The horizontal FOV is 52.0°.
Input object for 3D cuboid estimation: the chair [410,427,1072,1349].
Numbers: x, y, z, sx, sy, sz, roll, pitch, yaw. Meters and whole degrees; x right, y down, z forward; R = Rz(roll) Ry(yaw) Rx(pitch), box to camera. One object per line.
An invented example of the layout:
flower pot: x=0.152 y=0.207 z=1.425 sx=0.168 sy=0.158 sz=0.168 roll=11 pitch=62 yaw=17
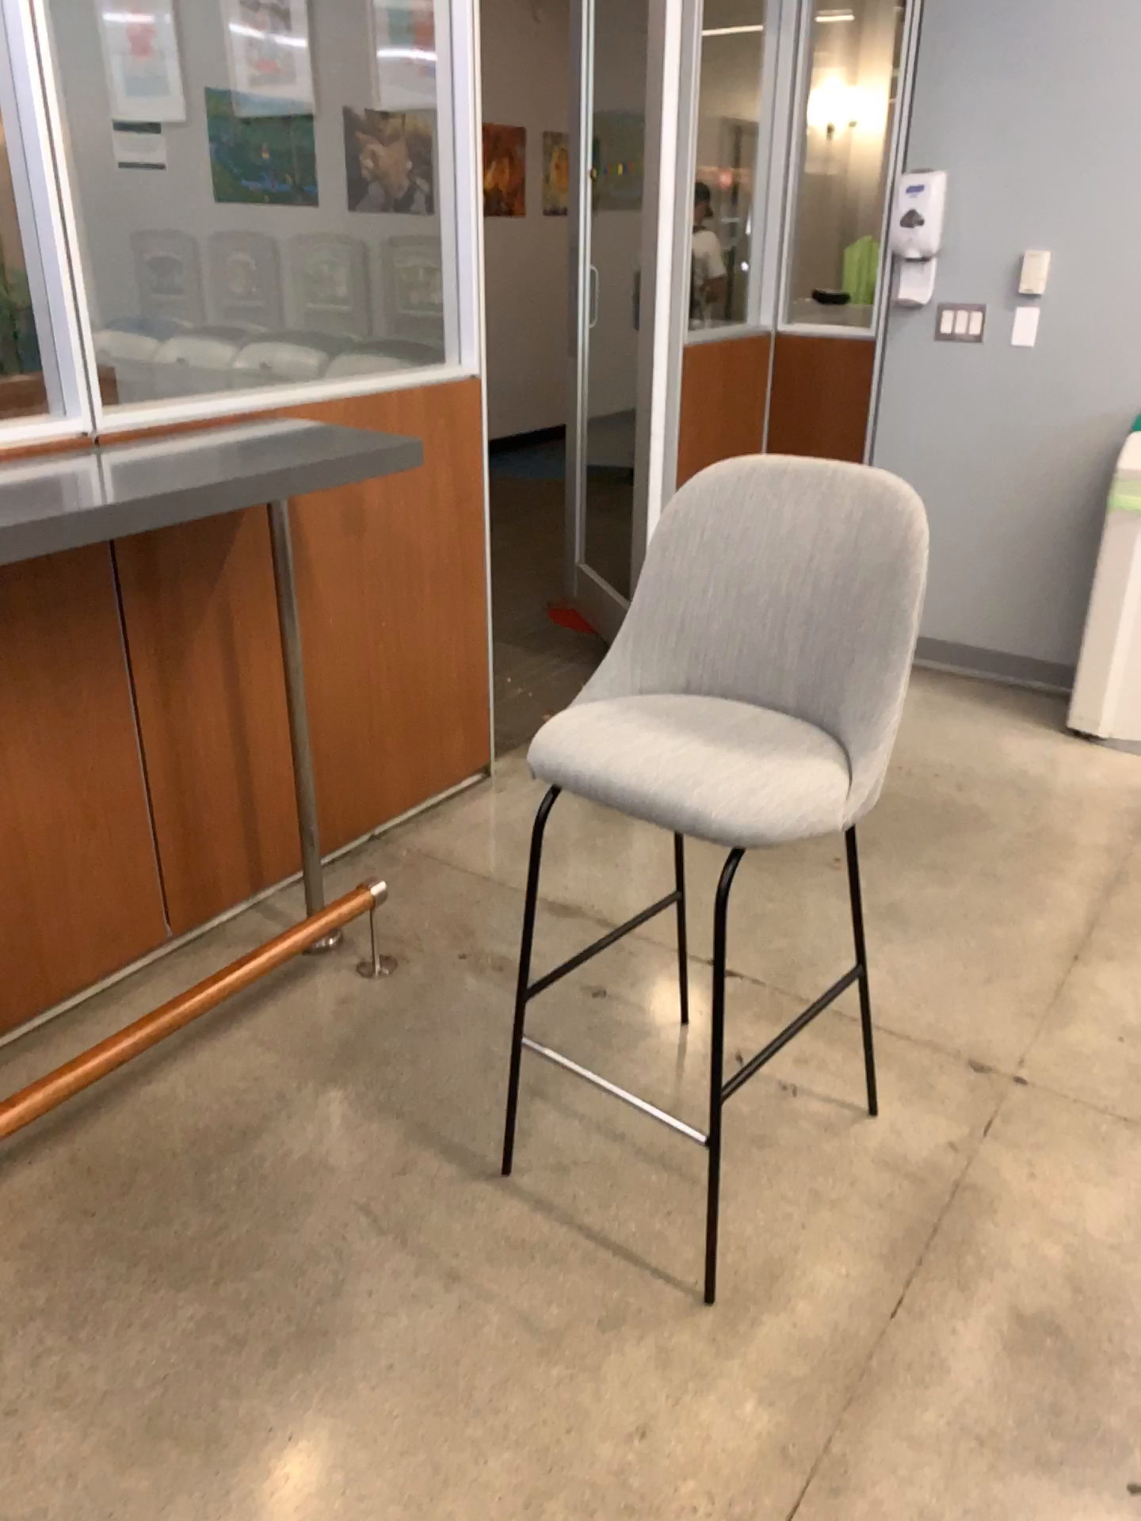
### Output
chair: x=0.265 y=0.110 z=1.862 sx=0.592 sy=1.094 sz=0.812 roll=19 pitch=30 yaw=34
